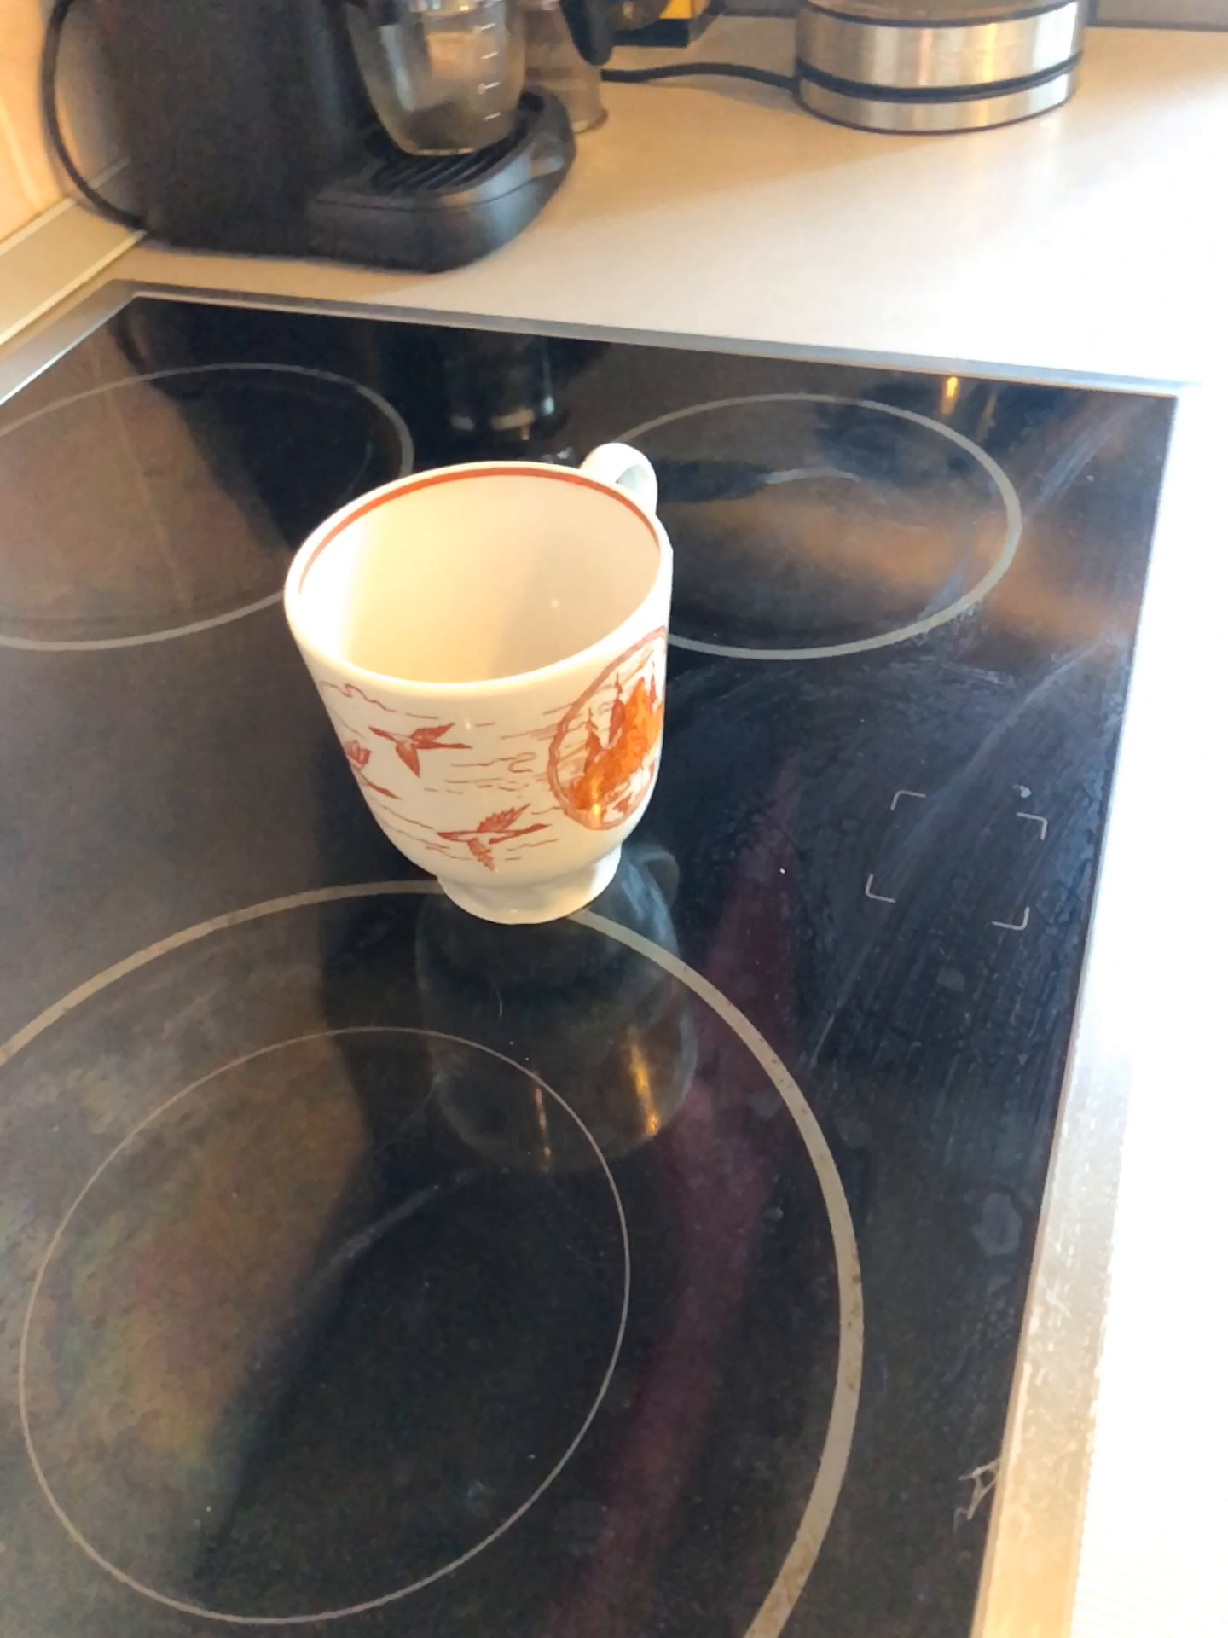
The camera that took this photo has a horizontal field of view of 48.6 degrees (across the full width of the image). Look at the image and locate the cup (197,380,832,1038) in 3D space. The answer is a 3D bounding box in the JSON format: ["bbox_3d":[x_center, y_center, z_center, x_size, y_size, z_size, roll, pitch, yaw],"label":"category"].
[{"bbox_3d":[-0.017,-0.033,0.344,0.090,0.090,0.120,27,54,28],"label":"cup"}]
